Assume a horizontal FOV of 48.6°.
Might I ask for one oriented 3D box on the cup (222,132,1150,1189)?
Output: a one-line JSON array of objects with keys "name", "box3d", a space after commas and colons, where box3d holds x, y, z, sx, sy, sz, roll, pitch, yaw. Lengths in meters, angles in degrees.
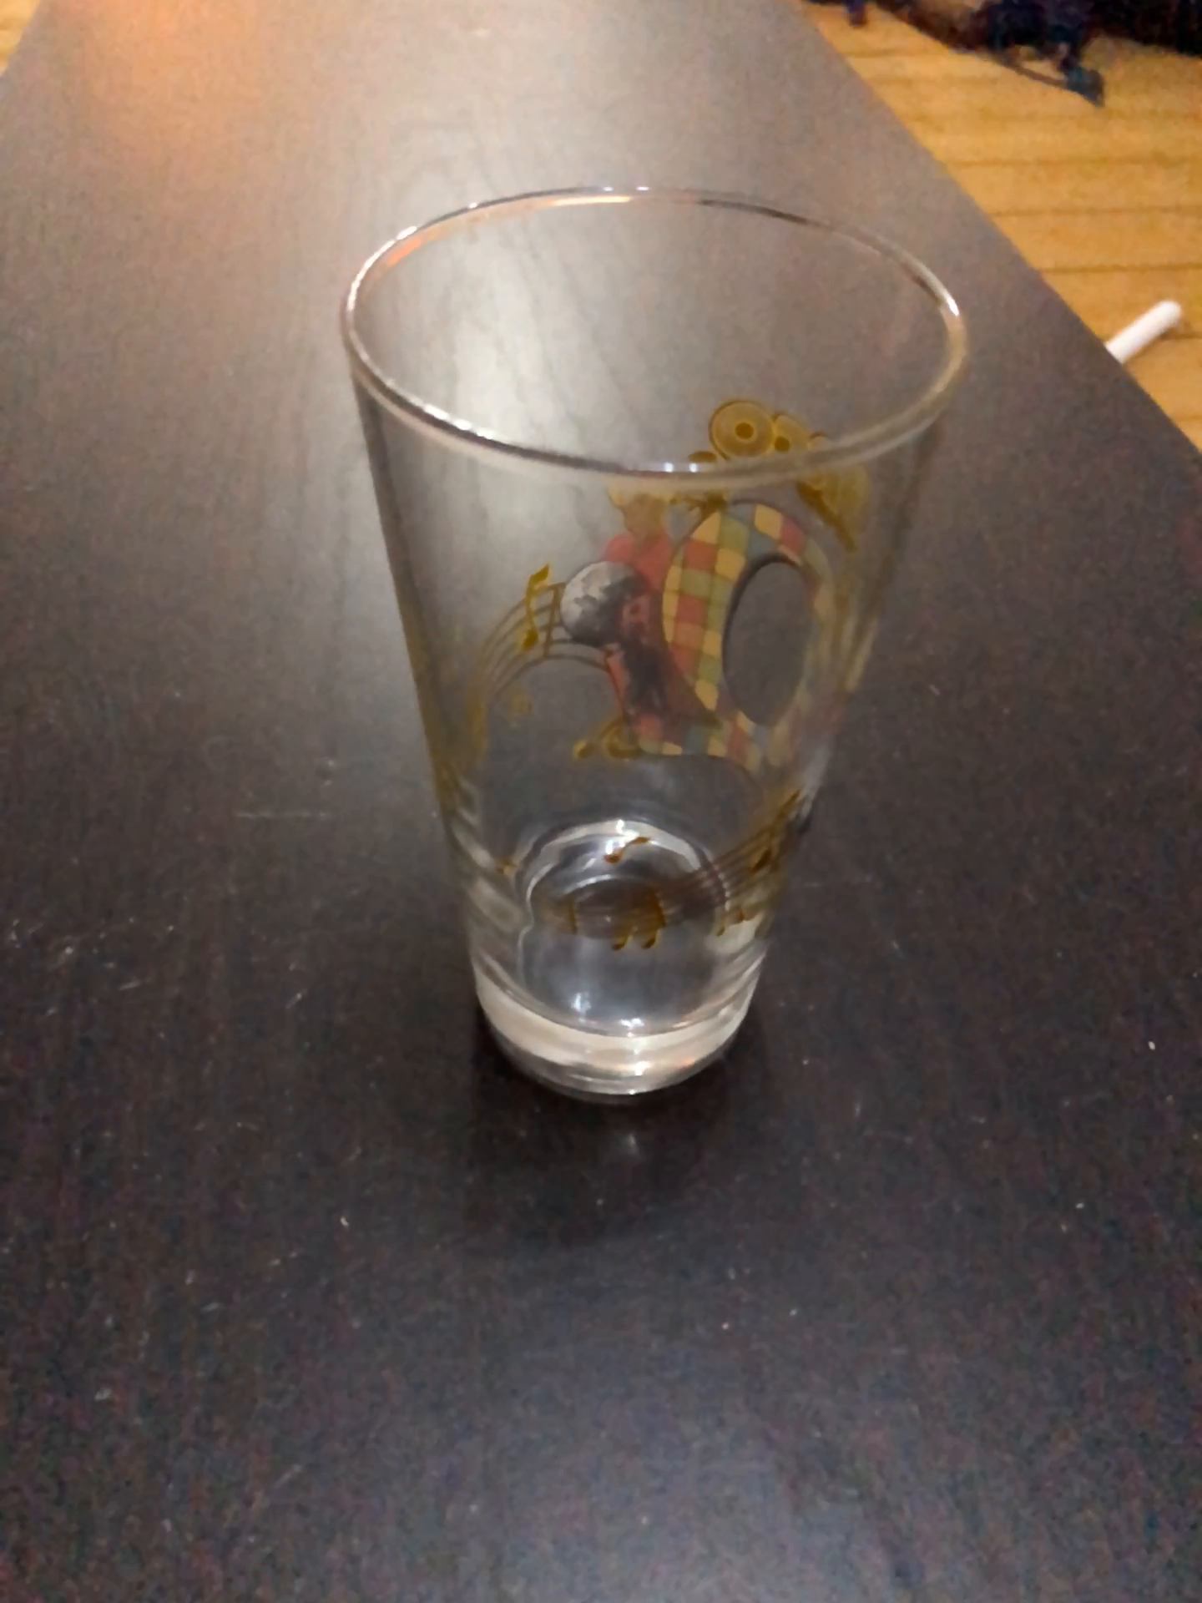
[{"name": "cup", "box3d": [0.011, -0.022, 0.198, 0.080, 0.109, 0.080, 1, 44, -1]}]
